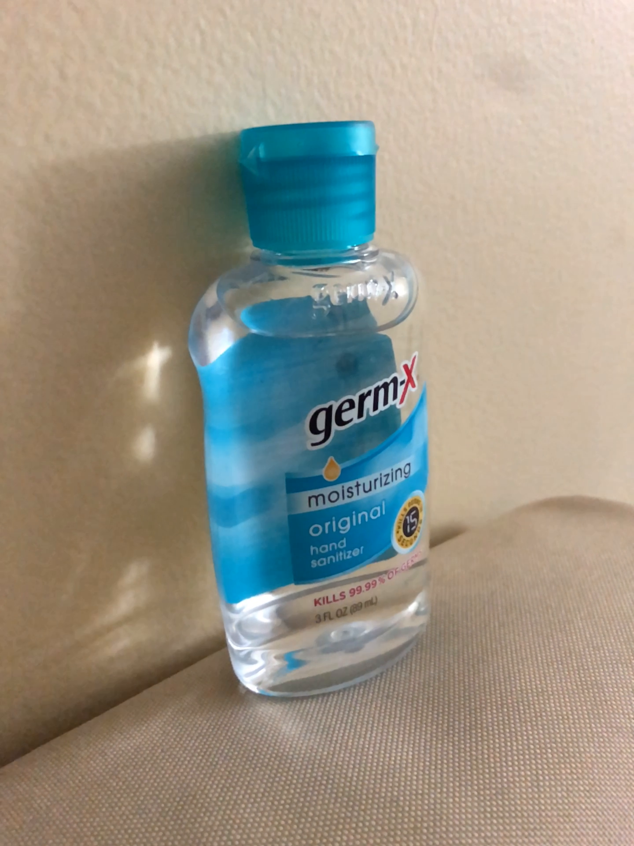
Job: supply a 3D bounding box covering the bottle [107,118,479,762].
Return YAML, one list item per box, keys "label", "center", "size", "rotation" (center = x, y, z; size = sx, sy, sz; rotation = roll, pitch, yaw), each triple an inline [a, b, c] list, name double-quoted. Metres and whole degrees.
- label: "bottle"
  center: [-0.001, 0.000, 0.145]
  size: [0.060, 0.110, 0.030]
  rotation: [-16, 23, -37]
